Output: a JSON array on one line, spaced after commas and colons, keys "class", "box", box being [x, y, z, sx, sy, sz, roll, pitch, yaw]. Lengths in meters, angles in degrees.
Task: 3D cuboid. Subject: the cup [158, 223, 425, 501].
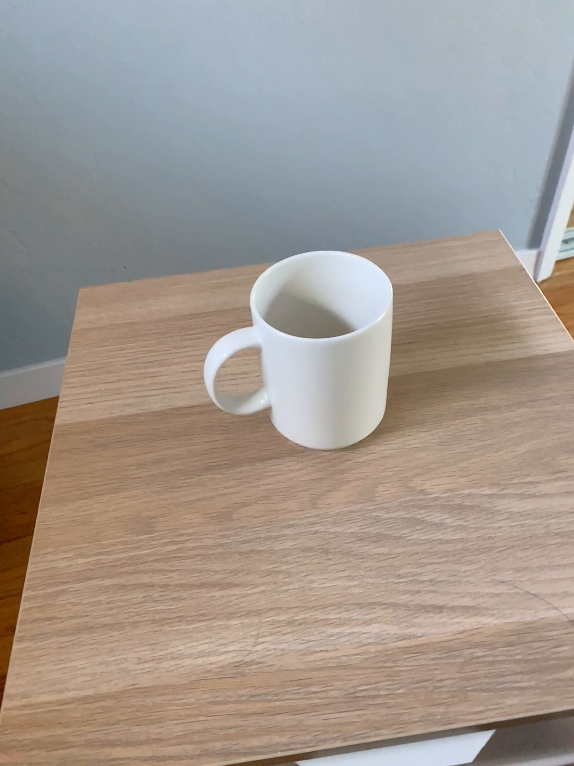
[{"class": "cup", "box": [0.005, -0.013, 0.403, 0.140, 0.129, 0.082, -20, 49, -13]}]

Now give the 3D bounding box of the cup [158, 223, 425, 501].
[{"class": "cup", "box": [0.005, -0.013, 0.403, 0.140, 0.129, 0.082, -20, 49, -13]}]
